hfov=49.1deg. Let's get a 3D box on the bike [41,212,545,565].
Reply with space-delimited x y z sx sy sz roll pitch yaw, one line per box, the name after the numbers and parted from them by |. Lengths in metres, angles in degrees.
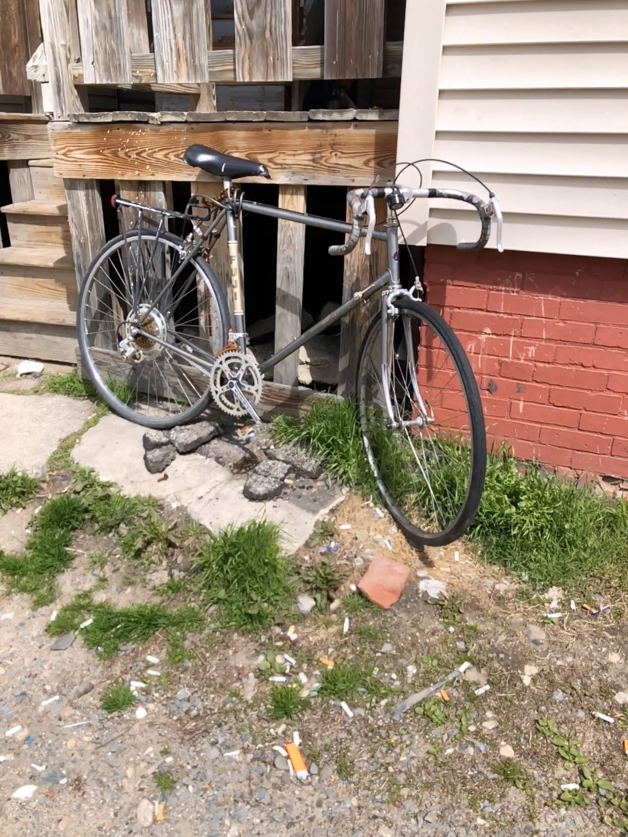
-0.118 -0.177 1.640 1.202 0.479 0.400 17 27 34 | bike
